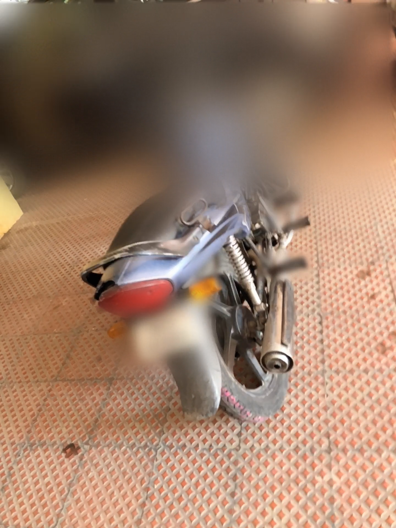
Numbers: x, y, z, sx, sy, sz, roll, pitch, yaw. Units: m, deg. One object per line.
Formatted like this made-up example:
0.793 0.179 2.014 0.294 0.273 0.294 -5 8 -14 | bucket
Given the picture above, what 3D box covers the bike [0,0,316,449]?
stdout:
-0.139 -0.338 1.816 0.734 1.072 1.697 -13 39 11 | bike
